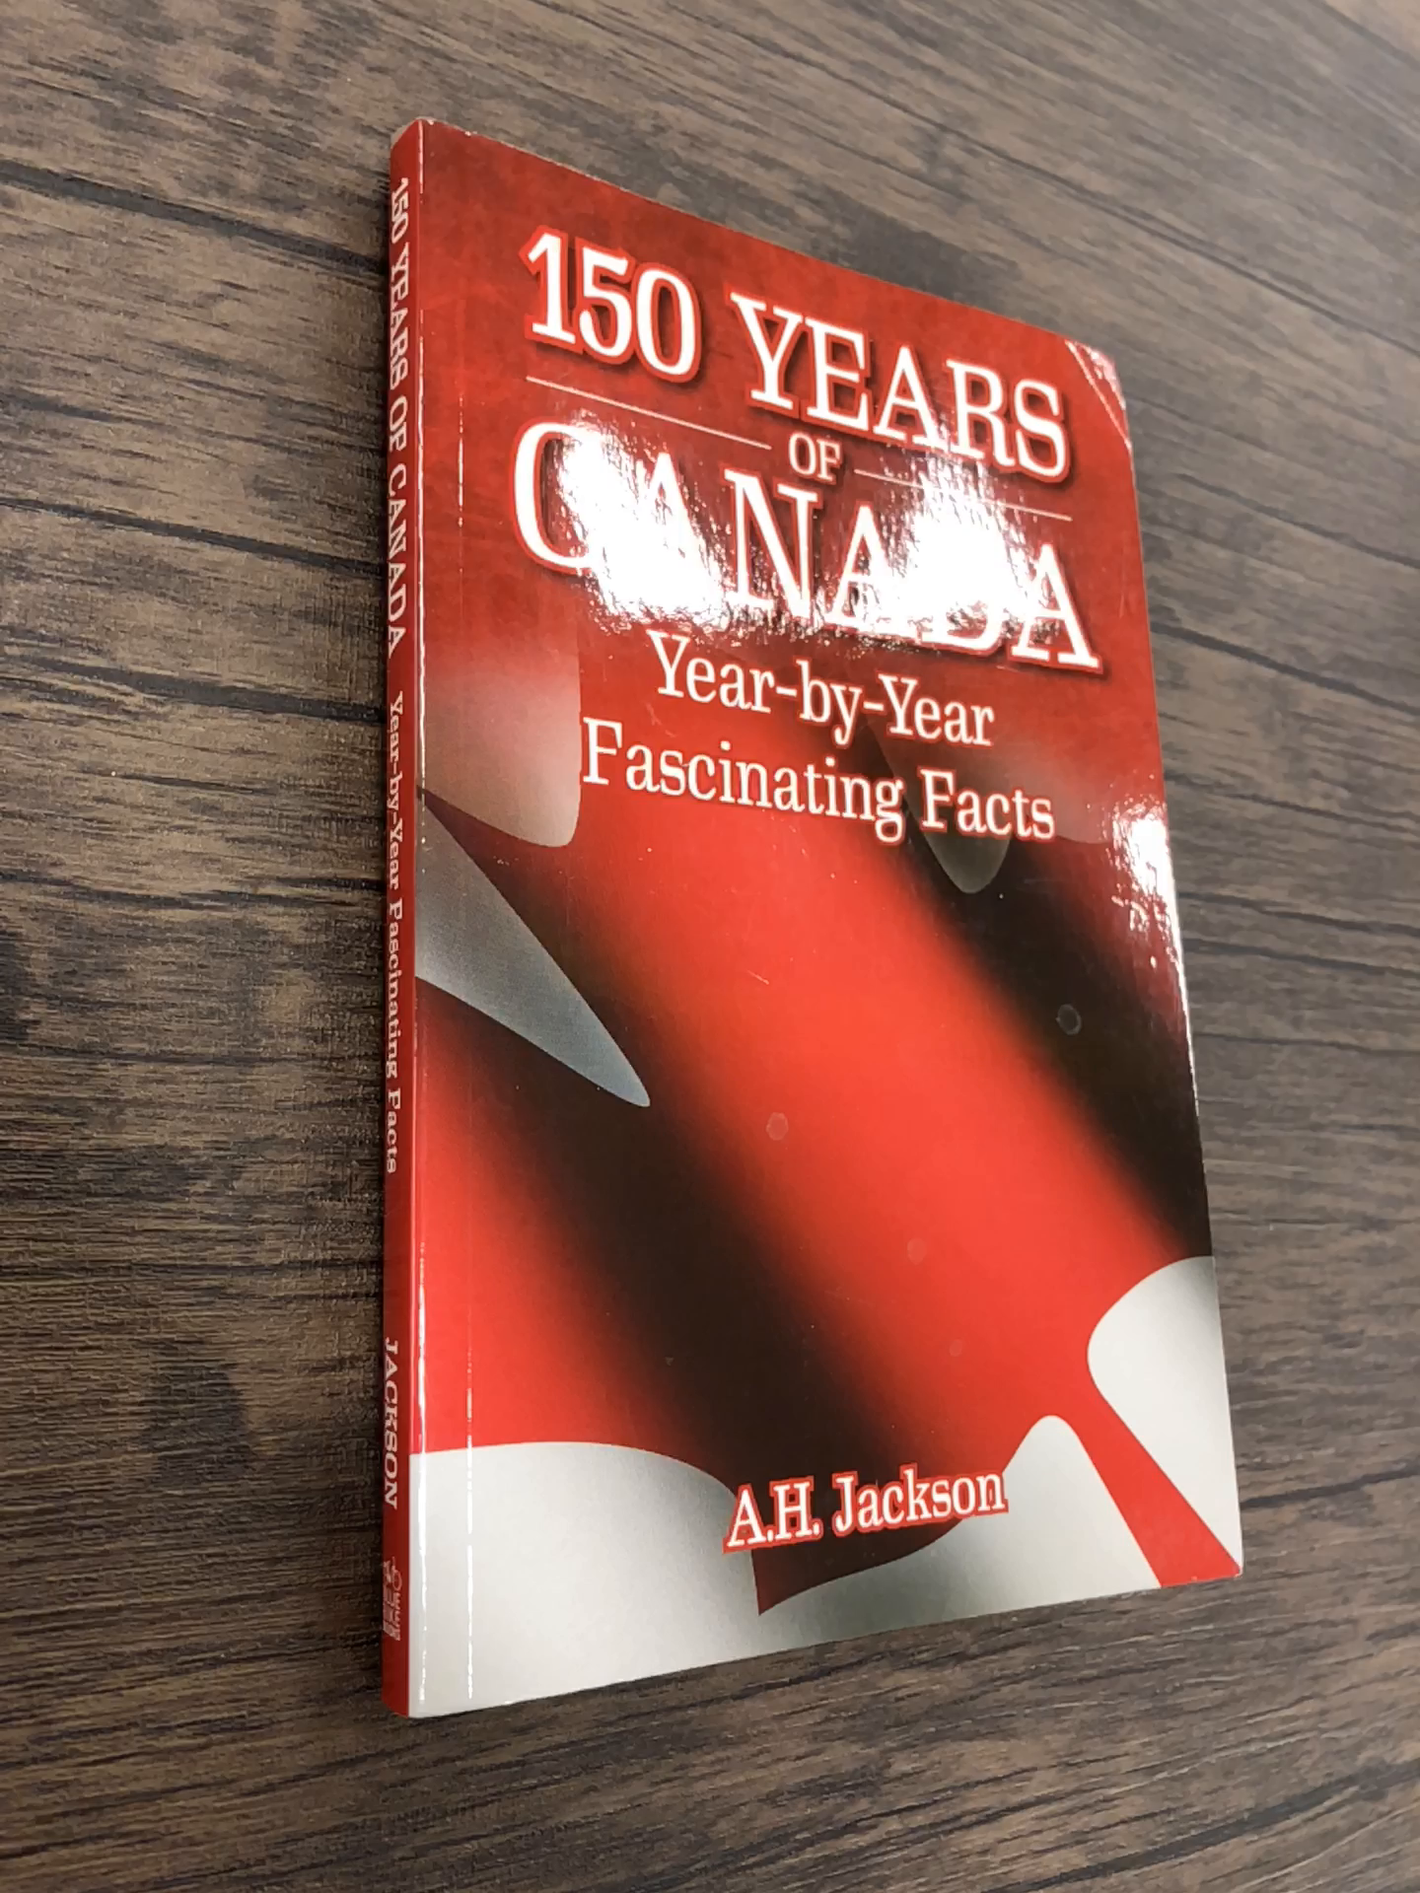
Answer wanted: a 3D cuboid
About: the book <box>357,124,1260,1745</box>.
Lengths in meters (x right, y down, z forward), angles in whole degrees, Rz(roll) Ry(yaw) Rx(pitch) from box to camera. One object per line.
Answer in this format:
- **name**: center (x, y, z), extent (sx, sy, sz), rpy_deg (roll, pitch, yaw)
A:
- **book**: center (0.015, -0.006, 0.239), extent (0.130, 0.025, 0.206), rpy_deg (3, 79, -27)
